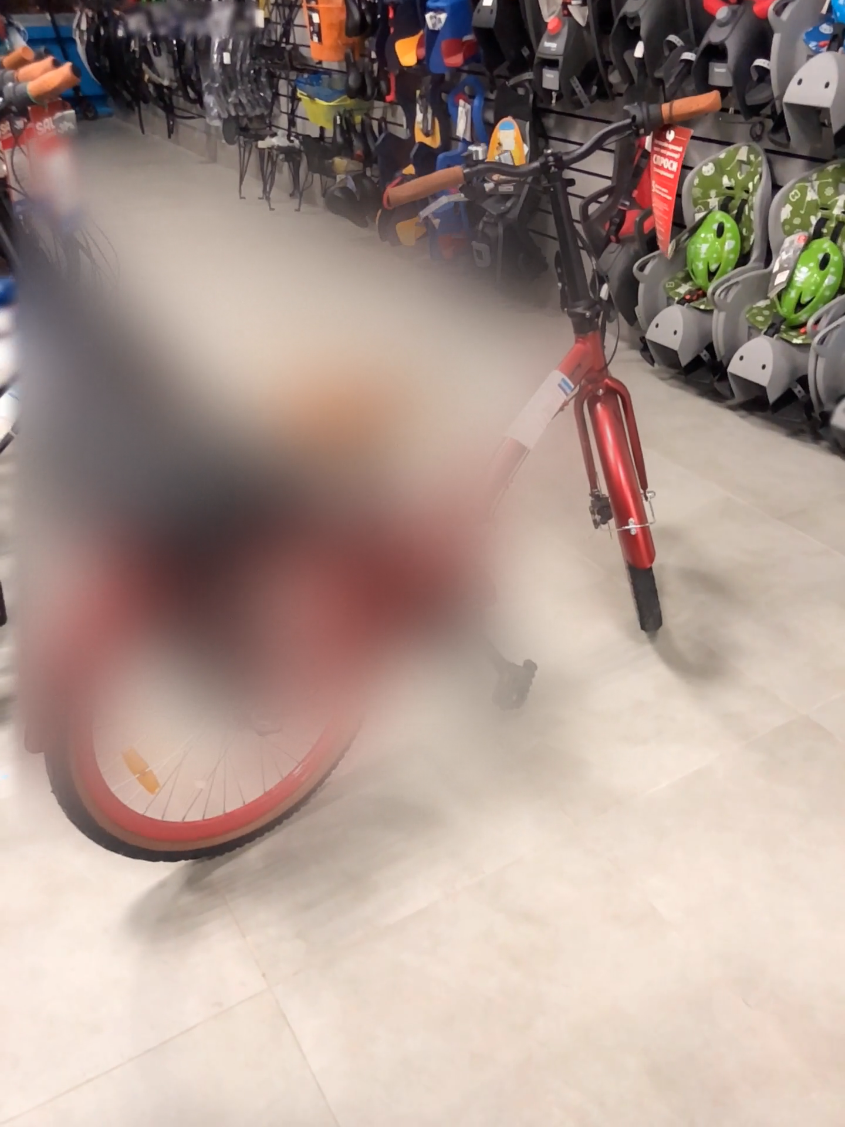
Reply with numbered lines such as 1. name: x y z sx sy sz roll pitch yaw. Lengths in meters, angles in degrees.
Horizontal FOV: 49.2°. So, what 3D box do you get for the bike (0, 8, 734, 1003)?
1. bike: -0.069 -0.290 1.693 0.517 1.111 1.500 23 41 32
